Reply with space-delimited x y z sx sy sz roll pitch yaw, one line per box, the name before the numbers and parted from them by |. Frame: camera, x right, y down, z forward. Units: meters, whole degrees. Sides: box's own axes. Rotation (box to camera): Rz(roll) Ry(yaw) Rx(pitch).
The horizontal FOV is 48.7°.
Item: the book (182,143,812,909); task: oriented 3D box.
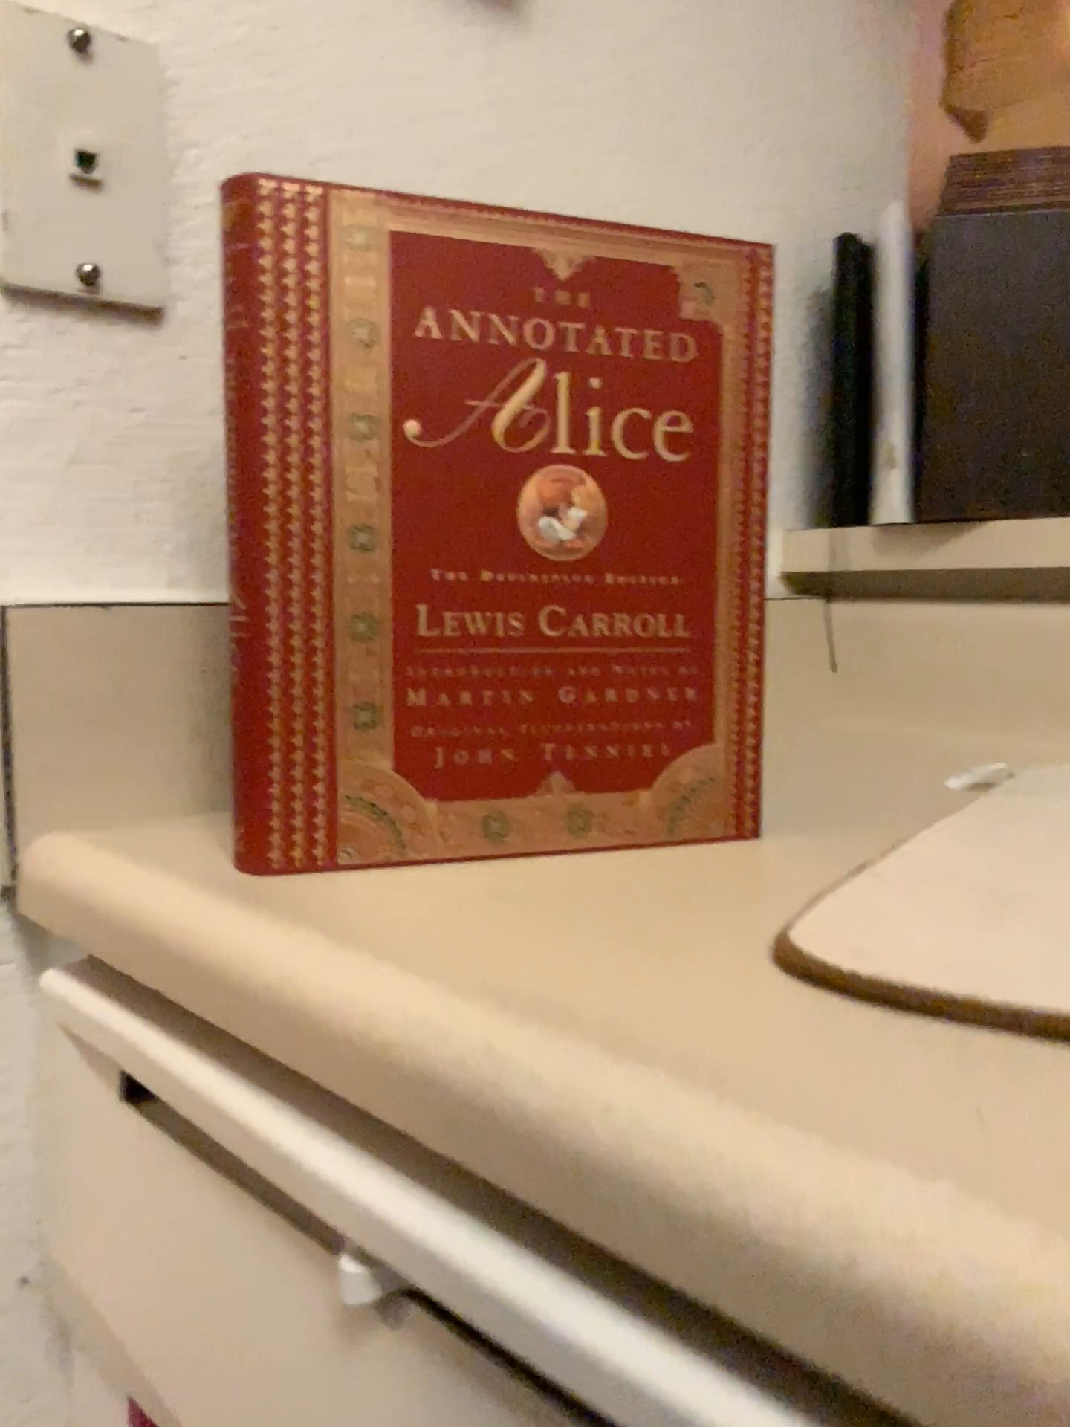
book | -0.021 -0.073 0.523 0.230 0.260 0.150 -3 7 -25
